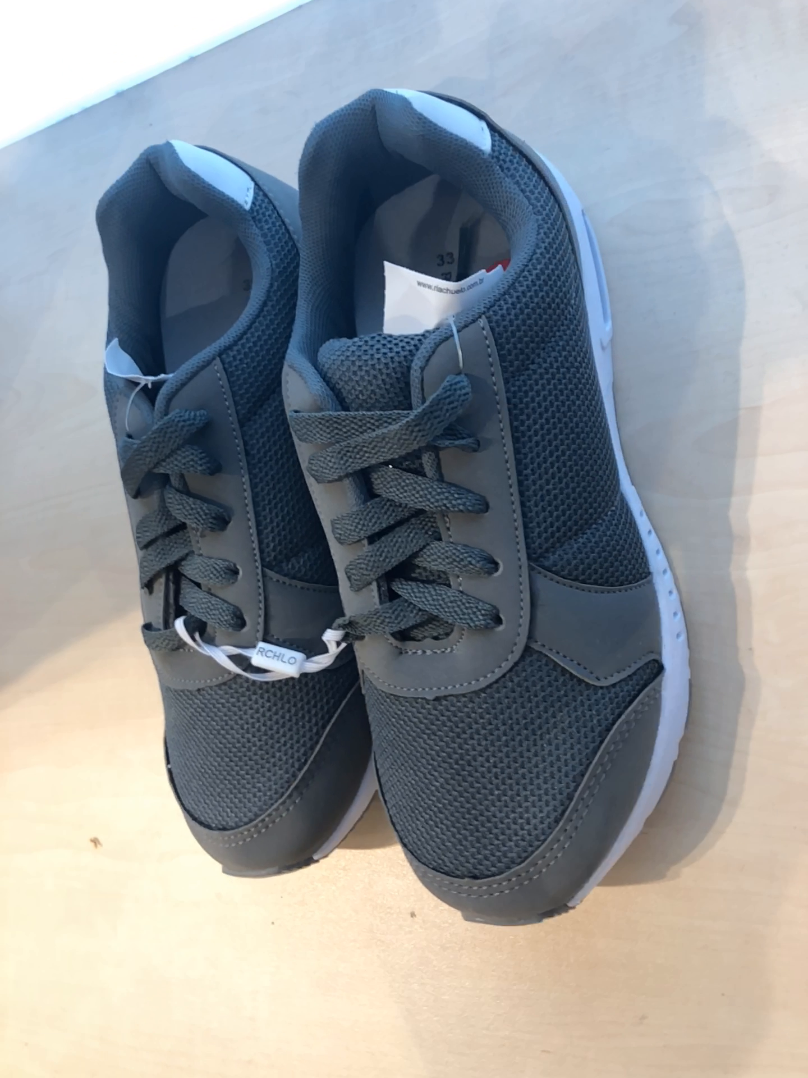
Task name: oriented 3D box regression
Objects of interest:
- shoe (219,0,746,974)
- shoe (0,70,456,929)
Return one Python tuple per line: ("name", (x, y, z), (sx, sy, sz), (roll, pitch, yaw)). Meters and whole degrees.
("shoe", (0.022, -0.016, 0.268), (0.100, 0.100, 0.240), (-11, 77, 27))
("shoe", (-0.056, -0.007, 0.301), (0.100, 0.100, 0.230), (-9, 78, 27))
